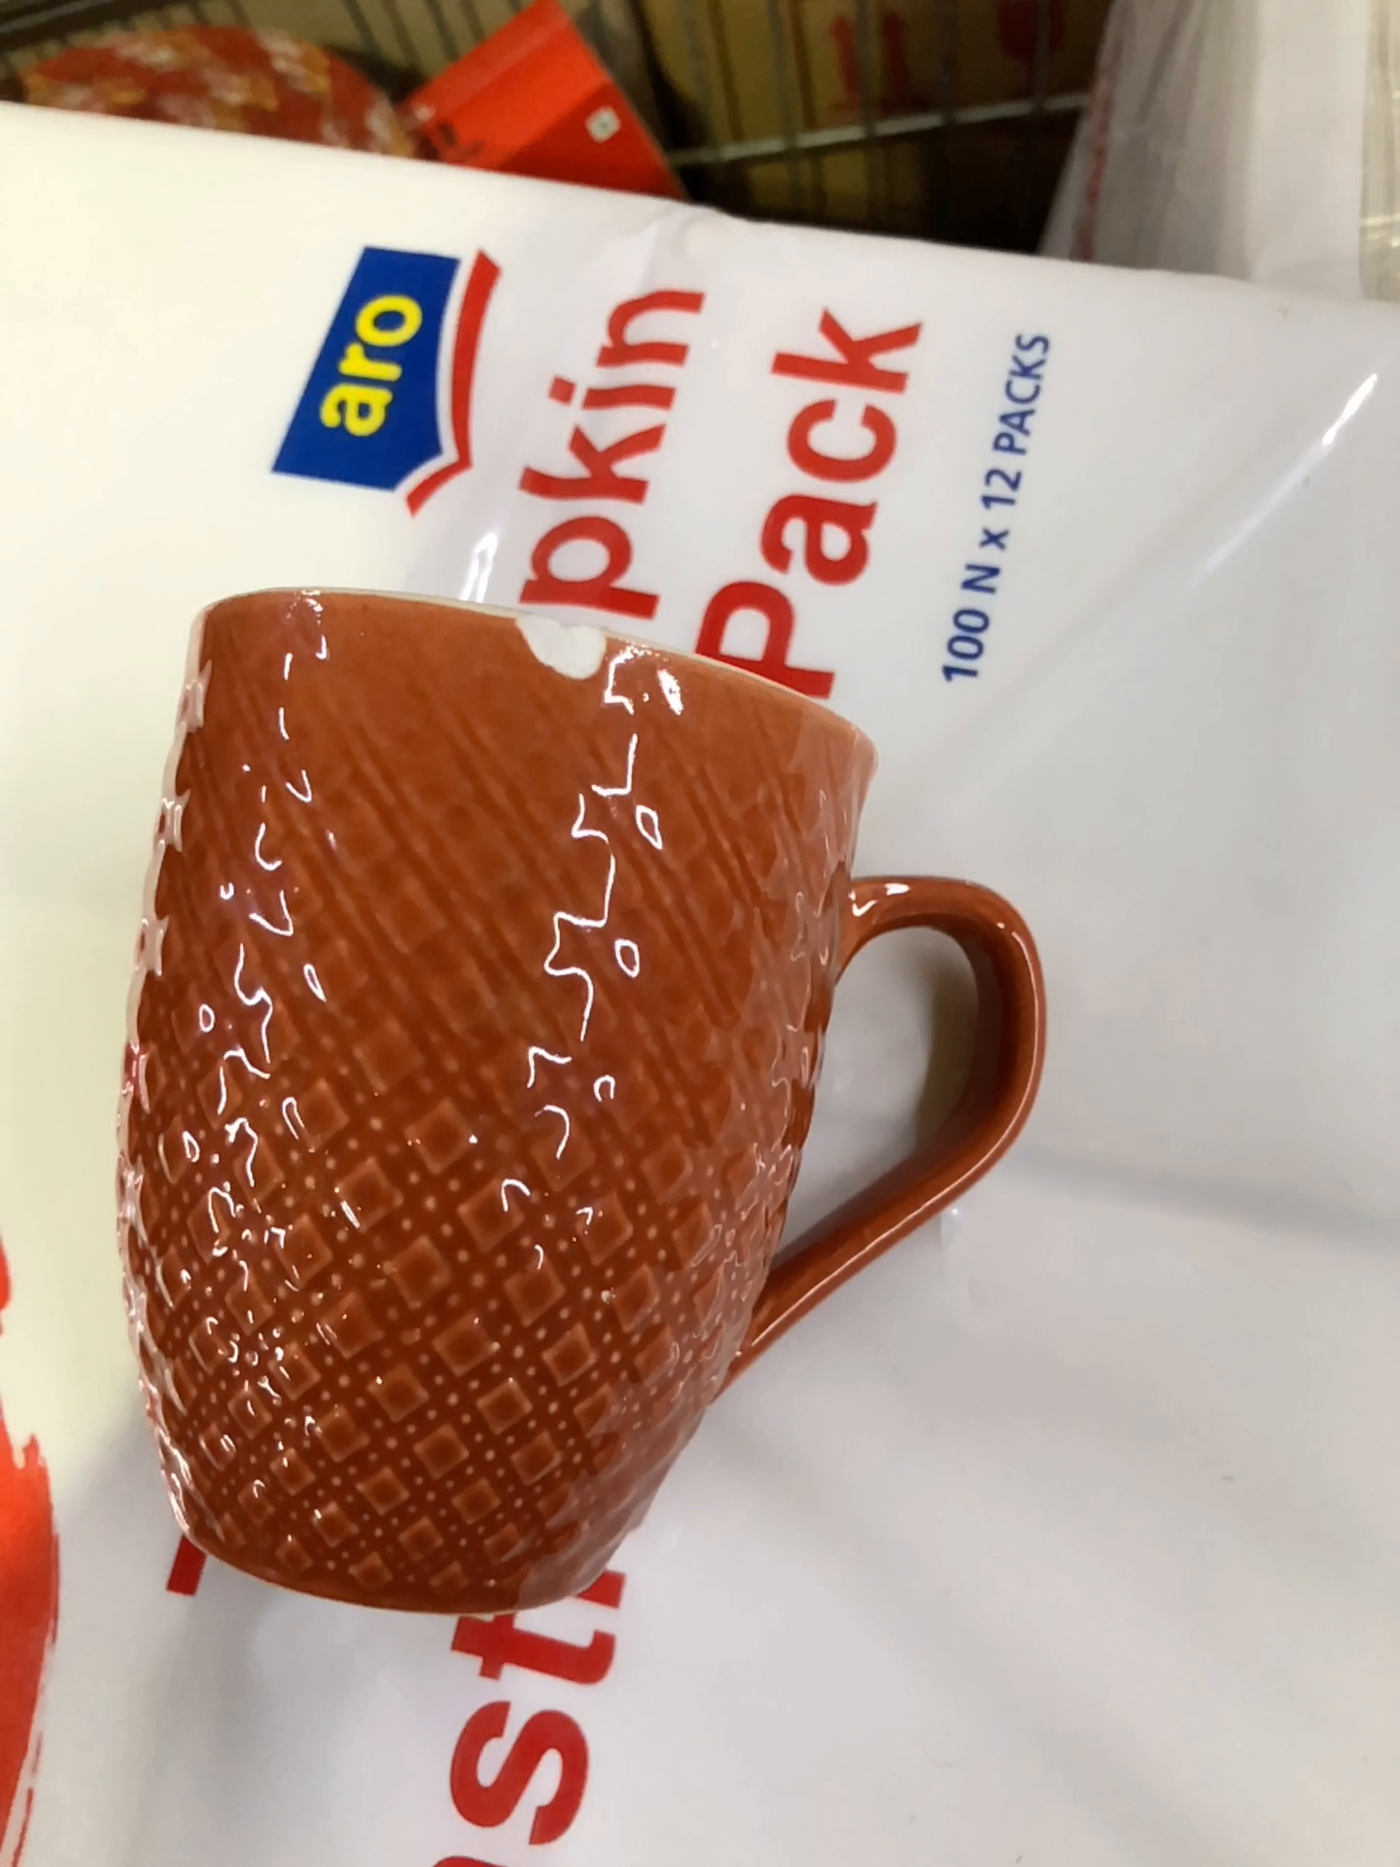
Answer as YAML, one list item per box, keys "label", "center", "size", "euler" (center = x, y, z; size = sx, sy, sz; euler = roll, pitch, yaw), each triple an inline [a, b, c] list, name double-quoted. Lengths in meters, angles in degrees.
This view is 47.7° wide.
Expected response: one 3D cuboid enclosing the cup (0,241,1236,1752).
- label: "cup"
  center: [-0.016, 0.014, 0.147]
  size: [0.070, 0.100, 0.090]
  euler: [-5, 71, 55]
